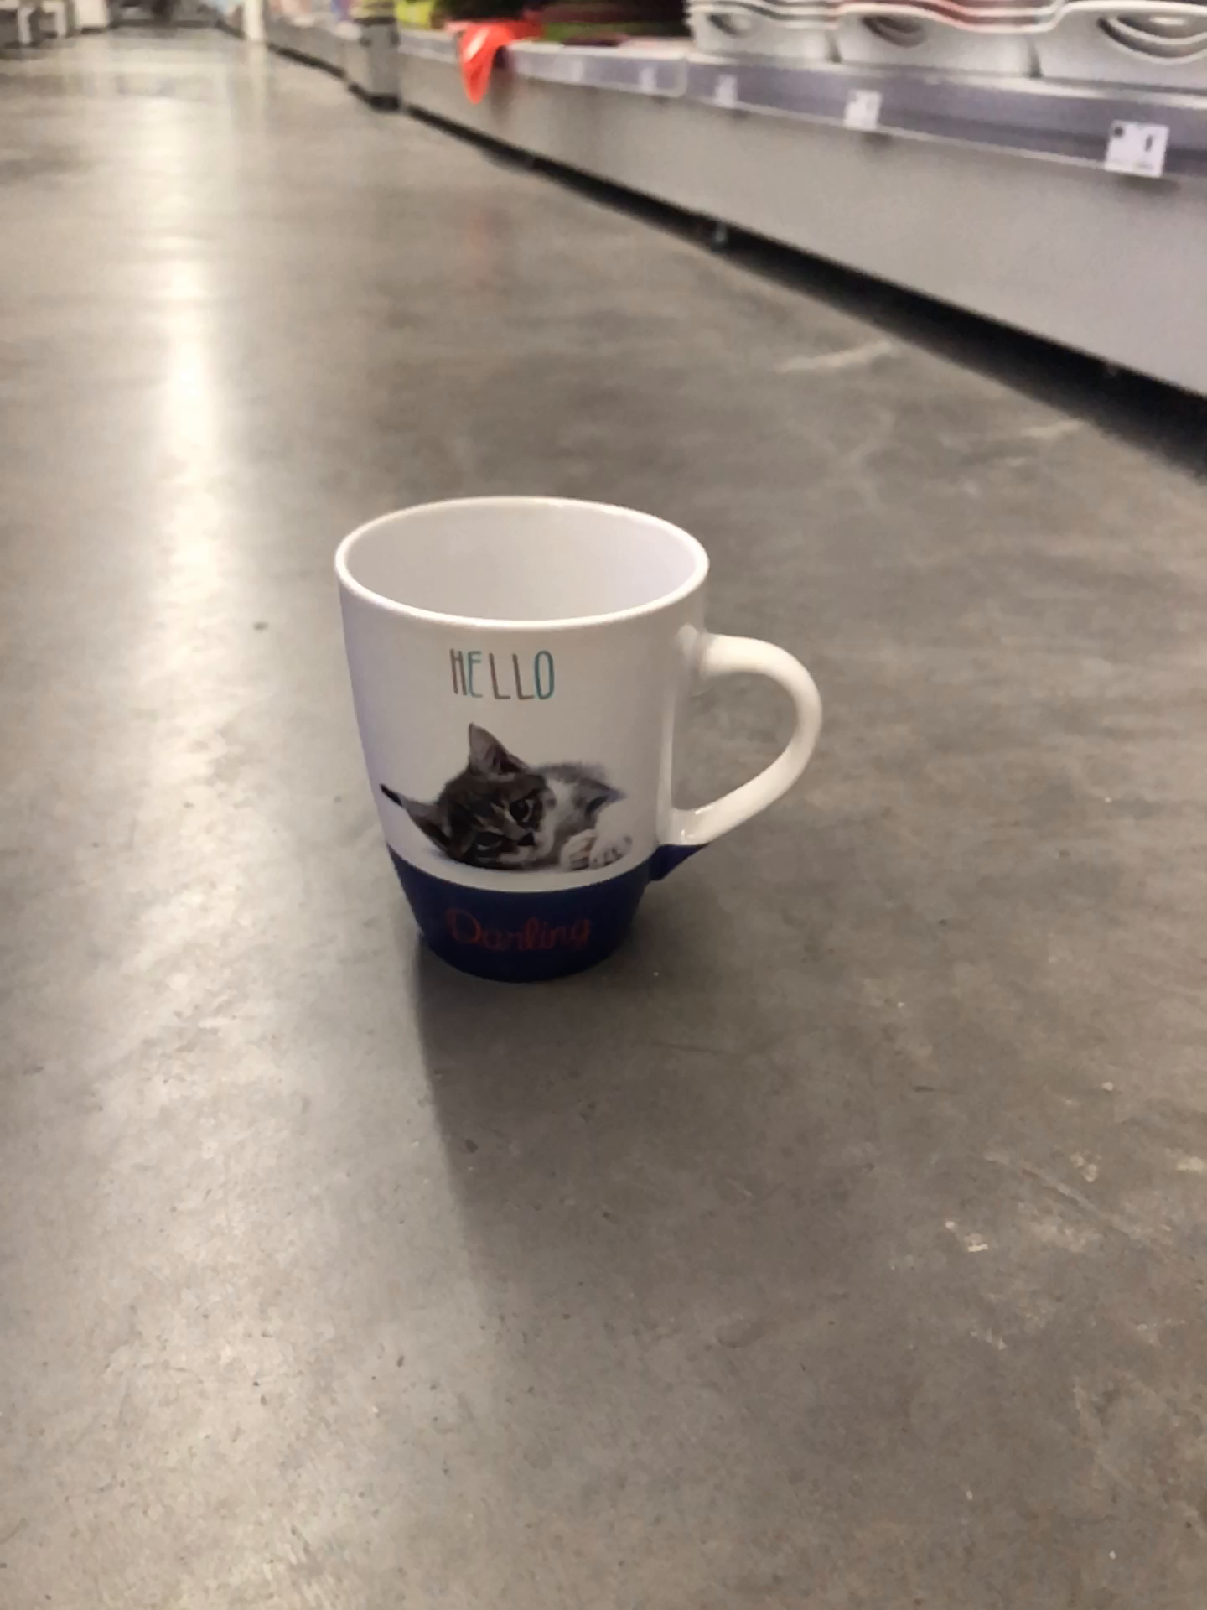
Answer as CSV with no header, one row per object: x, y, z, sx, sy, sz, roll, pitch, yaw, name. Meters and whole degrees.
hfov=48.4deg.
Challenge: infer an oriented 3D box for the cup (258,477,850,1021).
-0.008,-0.021,0.359,0.127,0.098,0.112,3,30,3,cup
